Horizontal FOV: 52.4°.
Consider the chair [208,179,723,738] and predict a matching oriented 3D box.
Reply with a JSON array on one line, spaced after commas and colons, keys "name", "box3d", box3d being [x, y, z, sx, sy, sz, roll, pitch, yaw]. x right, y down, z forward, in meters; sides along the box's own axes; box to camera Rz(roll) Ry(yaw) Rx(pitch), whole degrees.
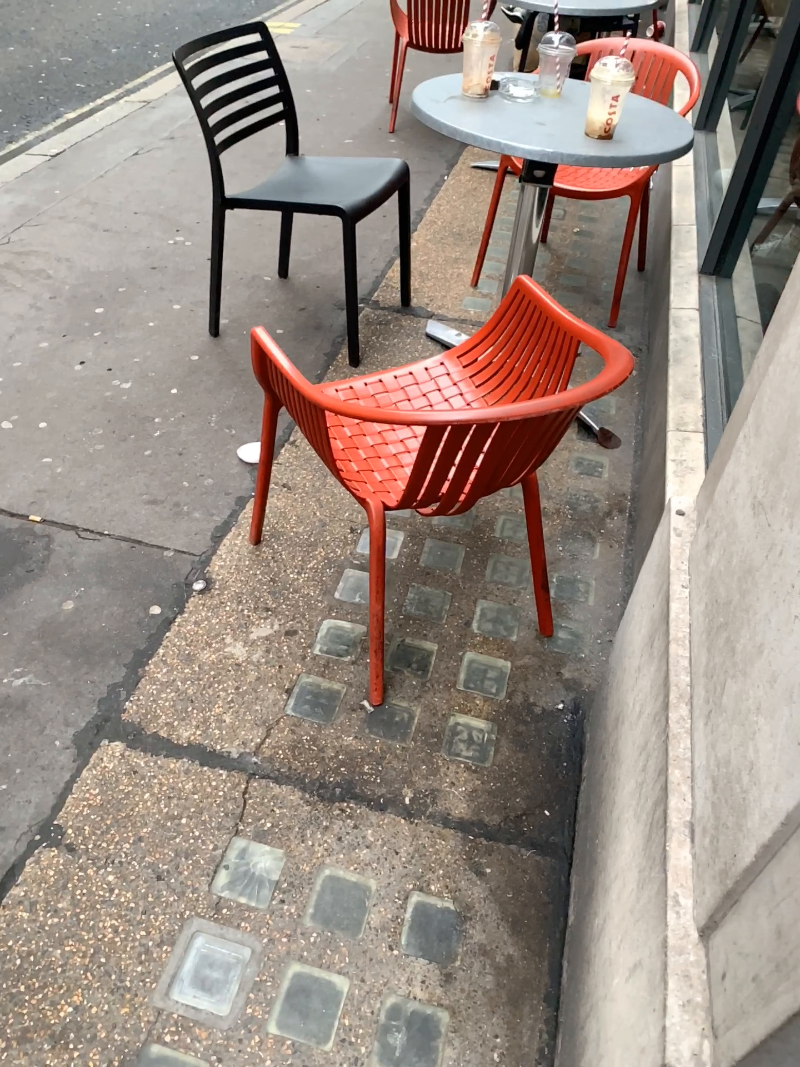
[{"name": "chair", "box3d": [0.054, -0.164, 1.515, 0.581, 0.693, 0.615, -17, 47, -23]}]
